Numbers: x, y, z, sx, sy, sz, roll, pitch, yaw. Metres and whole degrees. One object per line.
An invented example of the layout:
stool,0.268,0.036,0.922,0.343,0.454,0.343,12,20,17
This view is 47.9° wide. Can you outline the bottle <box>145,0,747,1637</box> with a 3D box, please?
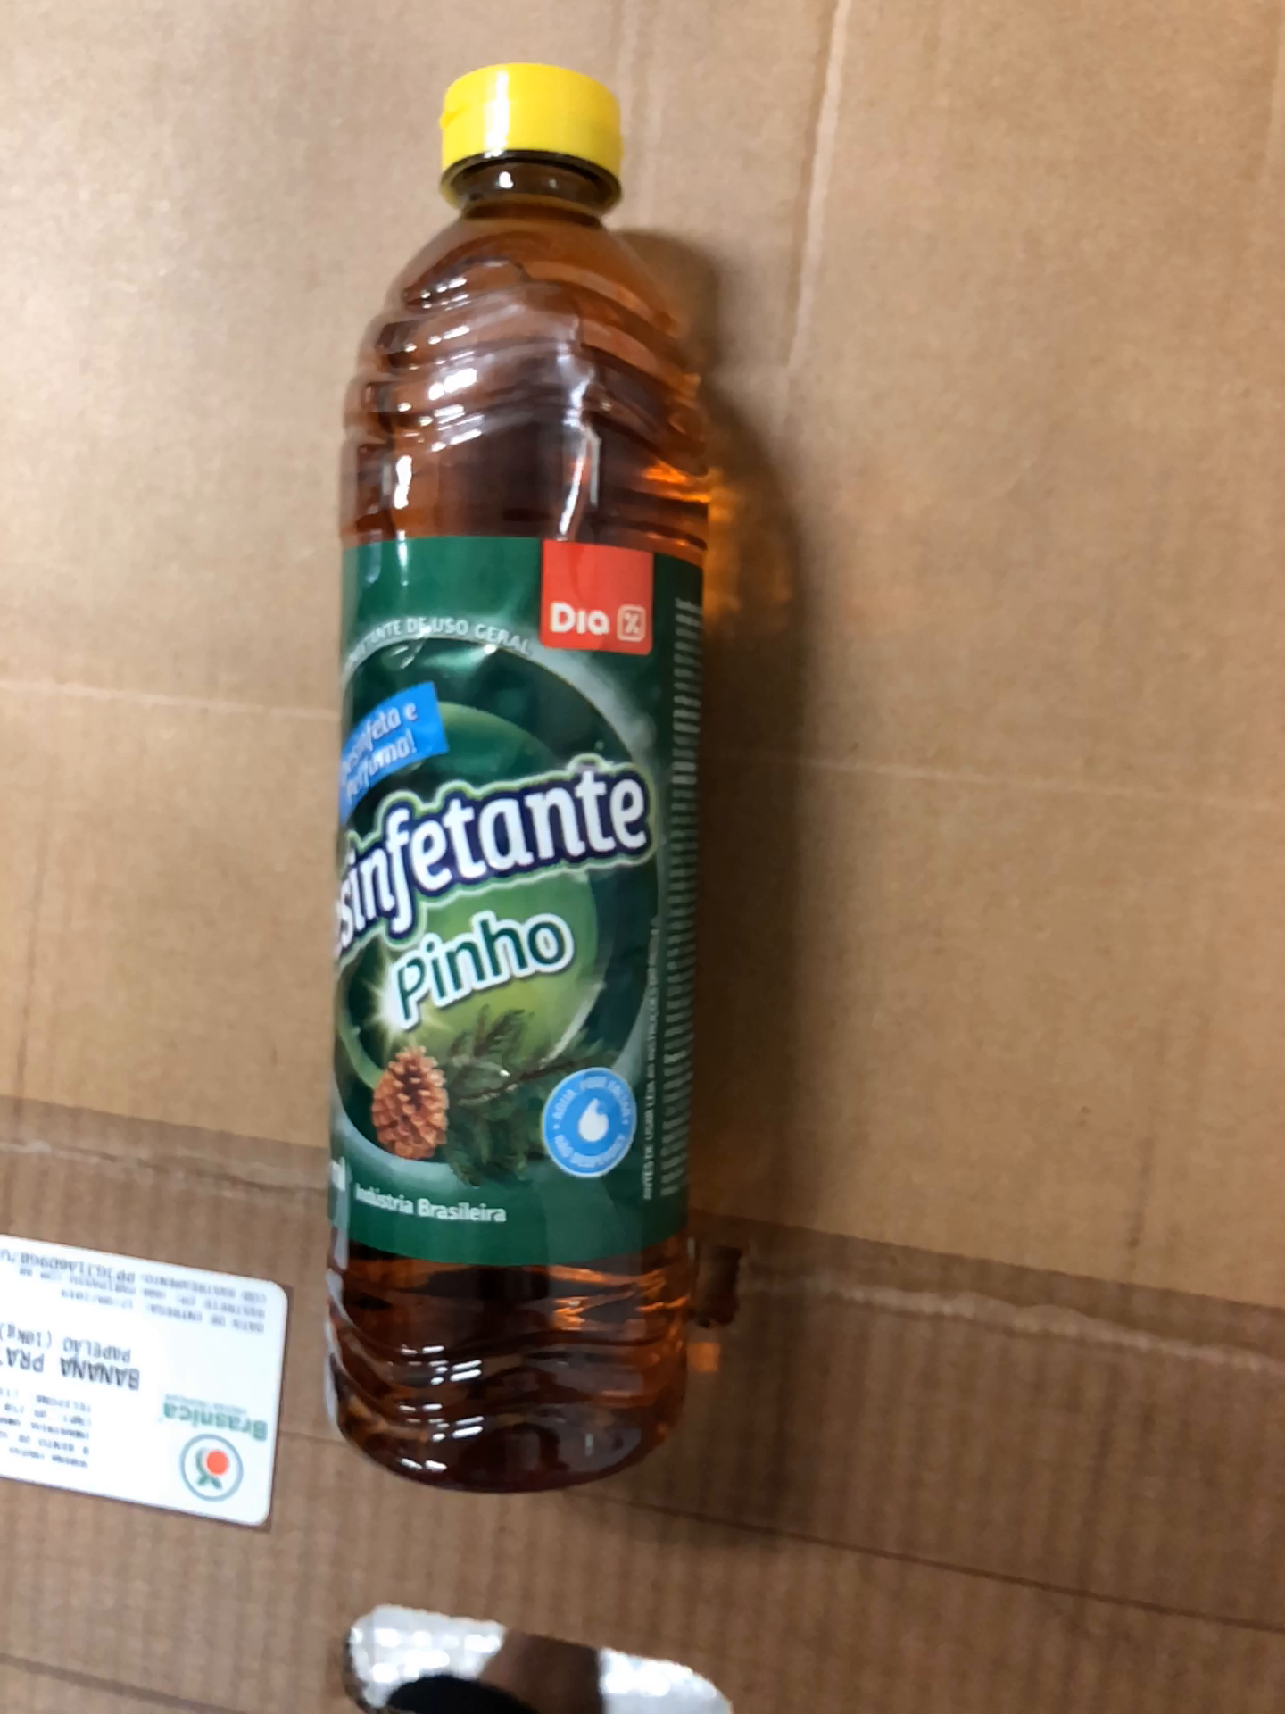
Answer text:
bottle,-0.027,-0.011,0.229,0.060,0.070,0.220,1,89,24
